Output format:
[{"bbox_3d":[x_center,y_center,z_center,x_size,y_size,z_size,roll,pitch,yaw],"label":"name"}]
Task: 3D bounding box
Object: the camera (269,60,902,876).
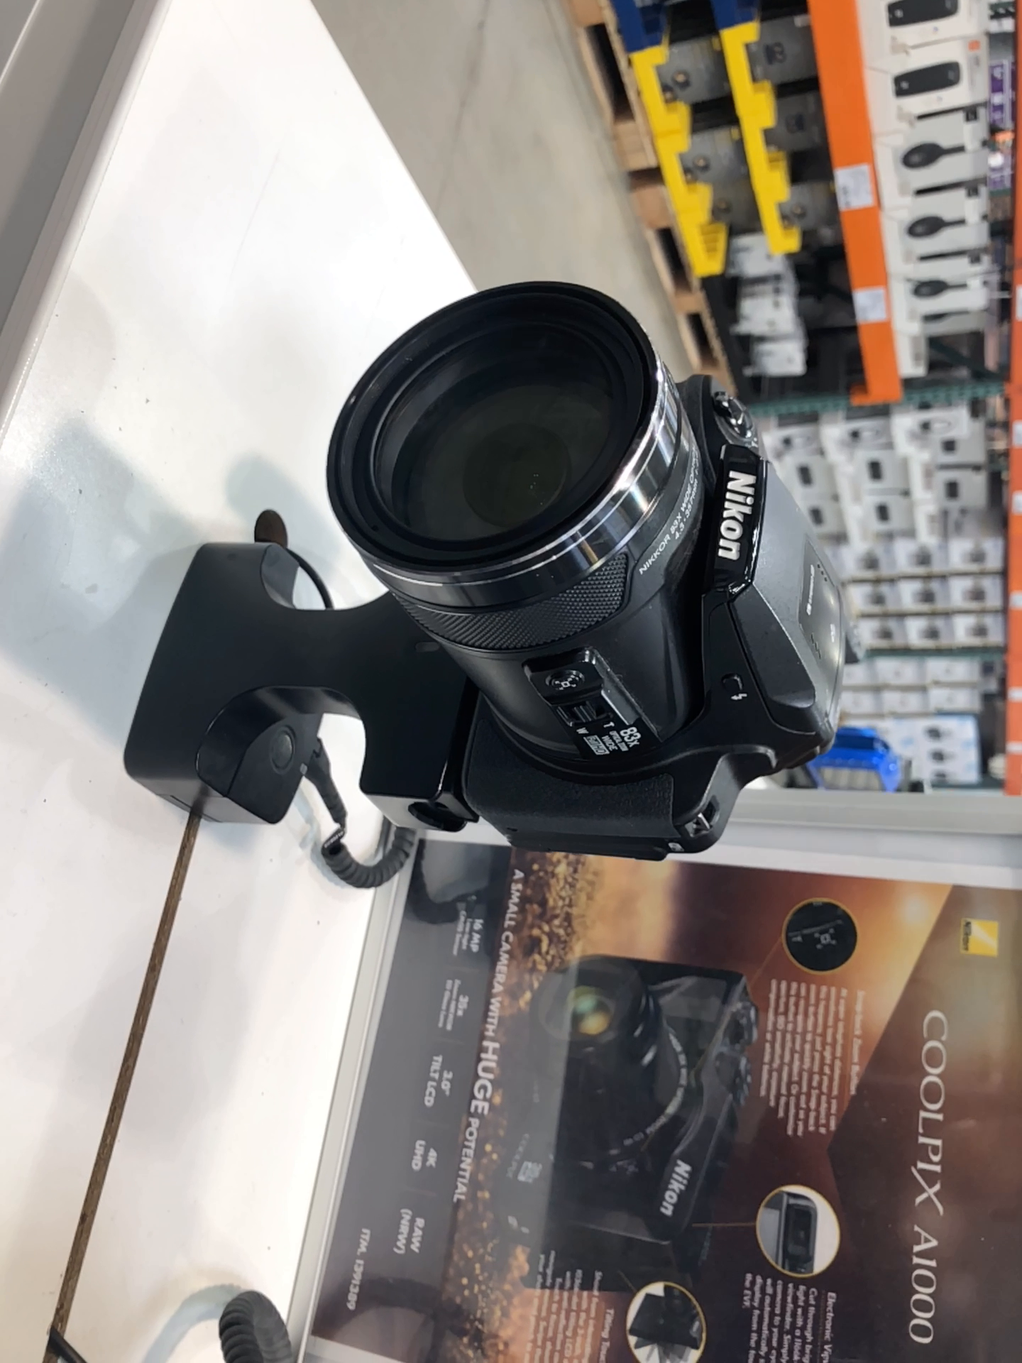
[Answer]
[{"bbox_3d":[0.039,-0.042,0.306,0.151,0.109,0.140,52,44,-56],"label":"camera"}]
